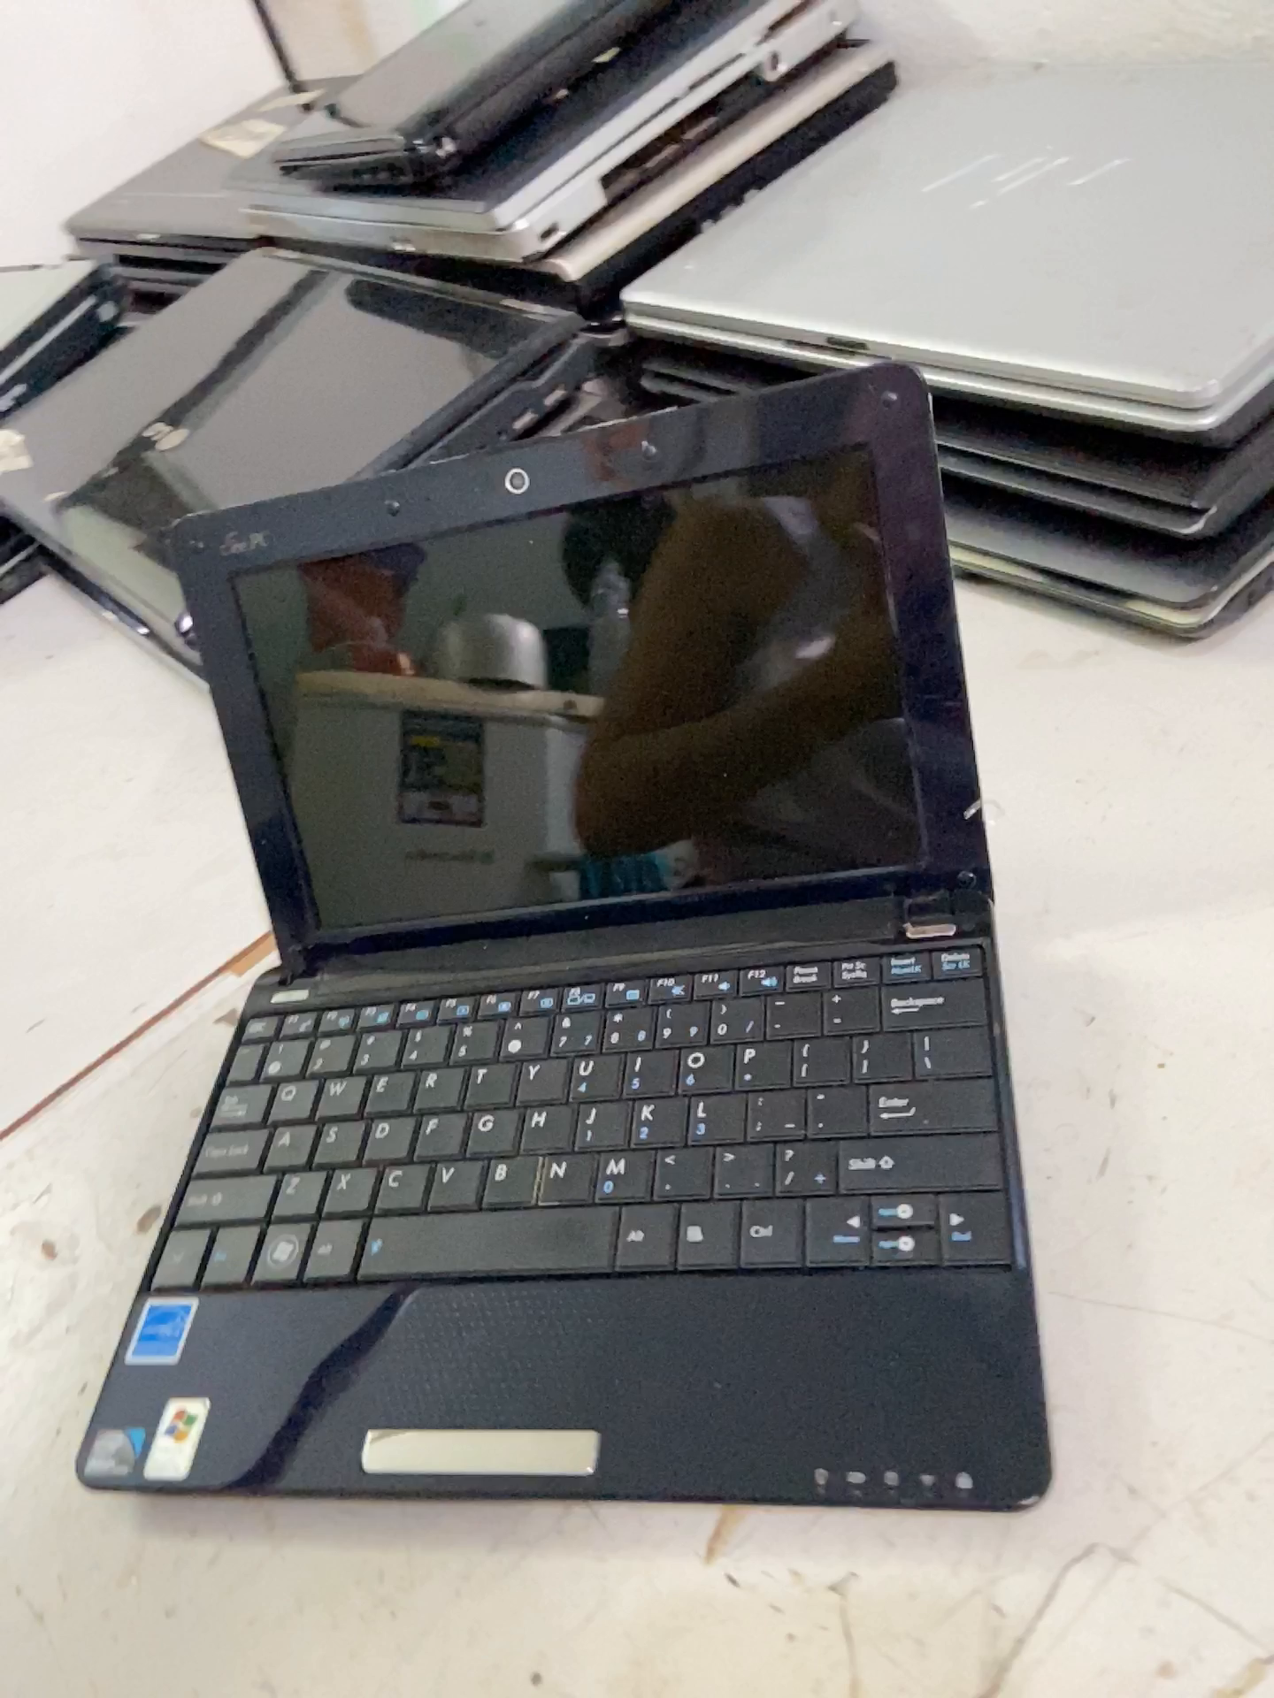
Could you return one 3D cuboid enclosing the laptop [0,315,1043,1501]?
[{"bbox_3d":[-0.037,0.011,0.374,0.260,0.133,0.274,-8,45,18],"label":"laptop"}]
